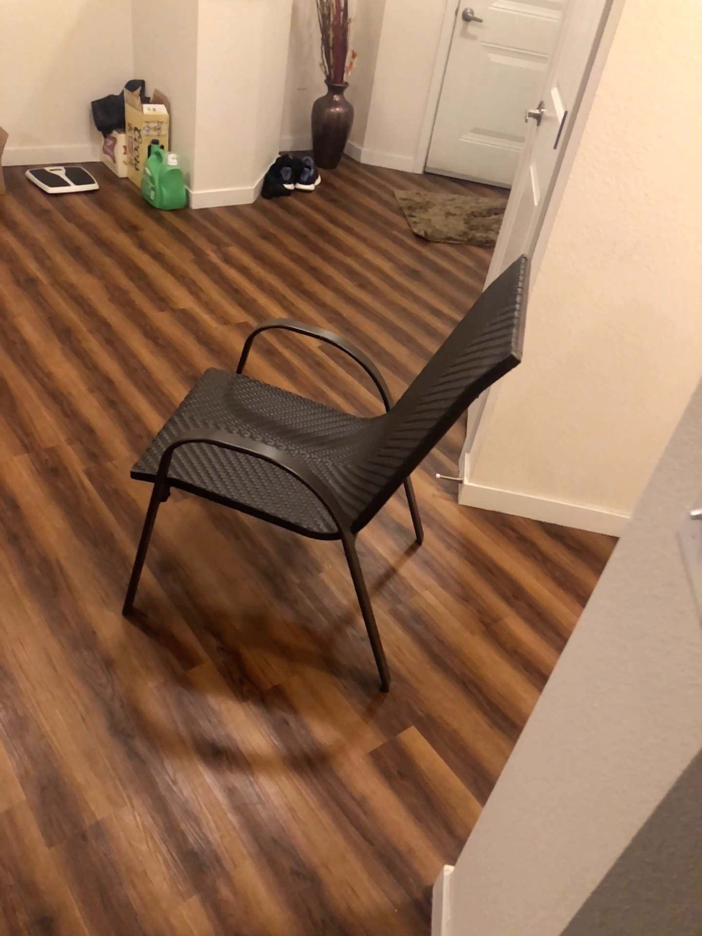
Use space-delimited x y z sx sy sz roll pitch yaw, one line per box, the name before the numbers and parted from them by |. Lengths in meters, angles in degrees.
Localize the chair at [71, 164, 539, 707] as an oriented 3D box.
chair | -0.091 -0.078 1.699 0.747 0.852 0.600 15 37 6
